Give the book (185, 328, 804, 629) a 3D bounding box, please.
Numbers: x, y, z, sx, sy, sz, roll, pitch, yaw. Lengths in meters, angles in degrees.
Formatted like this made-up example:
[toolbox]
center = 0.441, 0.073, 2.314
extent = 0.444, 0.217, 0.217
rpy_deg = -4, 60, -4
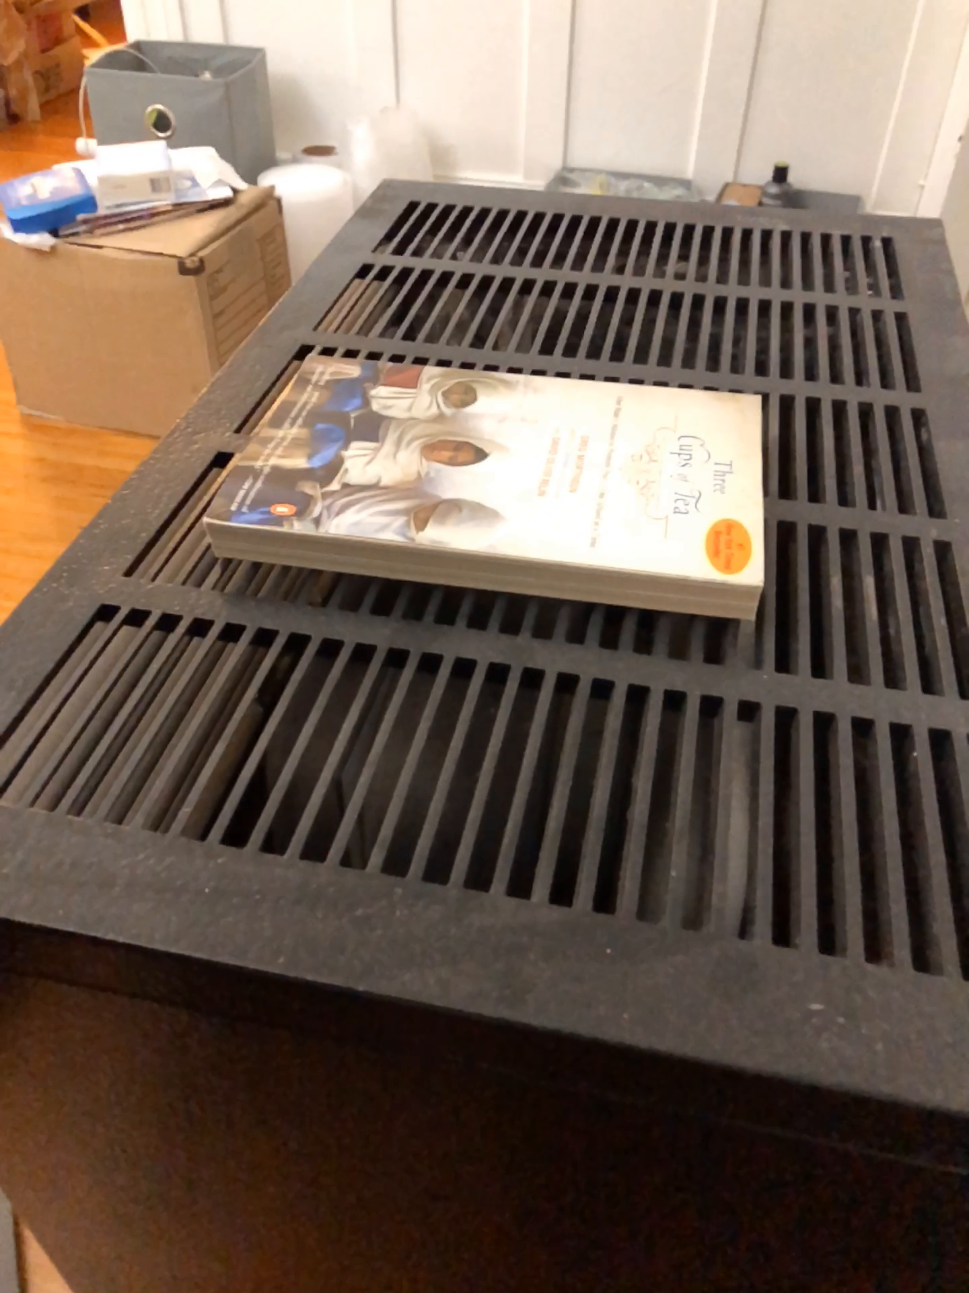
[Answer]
[book]
center = 0.011, -0.077, 0.434
extent = 0.220, 0.030, 0.141
rpy_deg = 7, 41, 6
